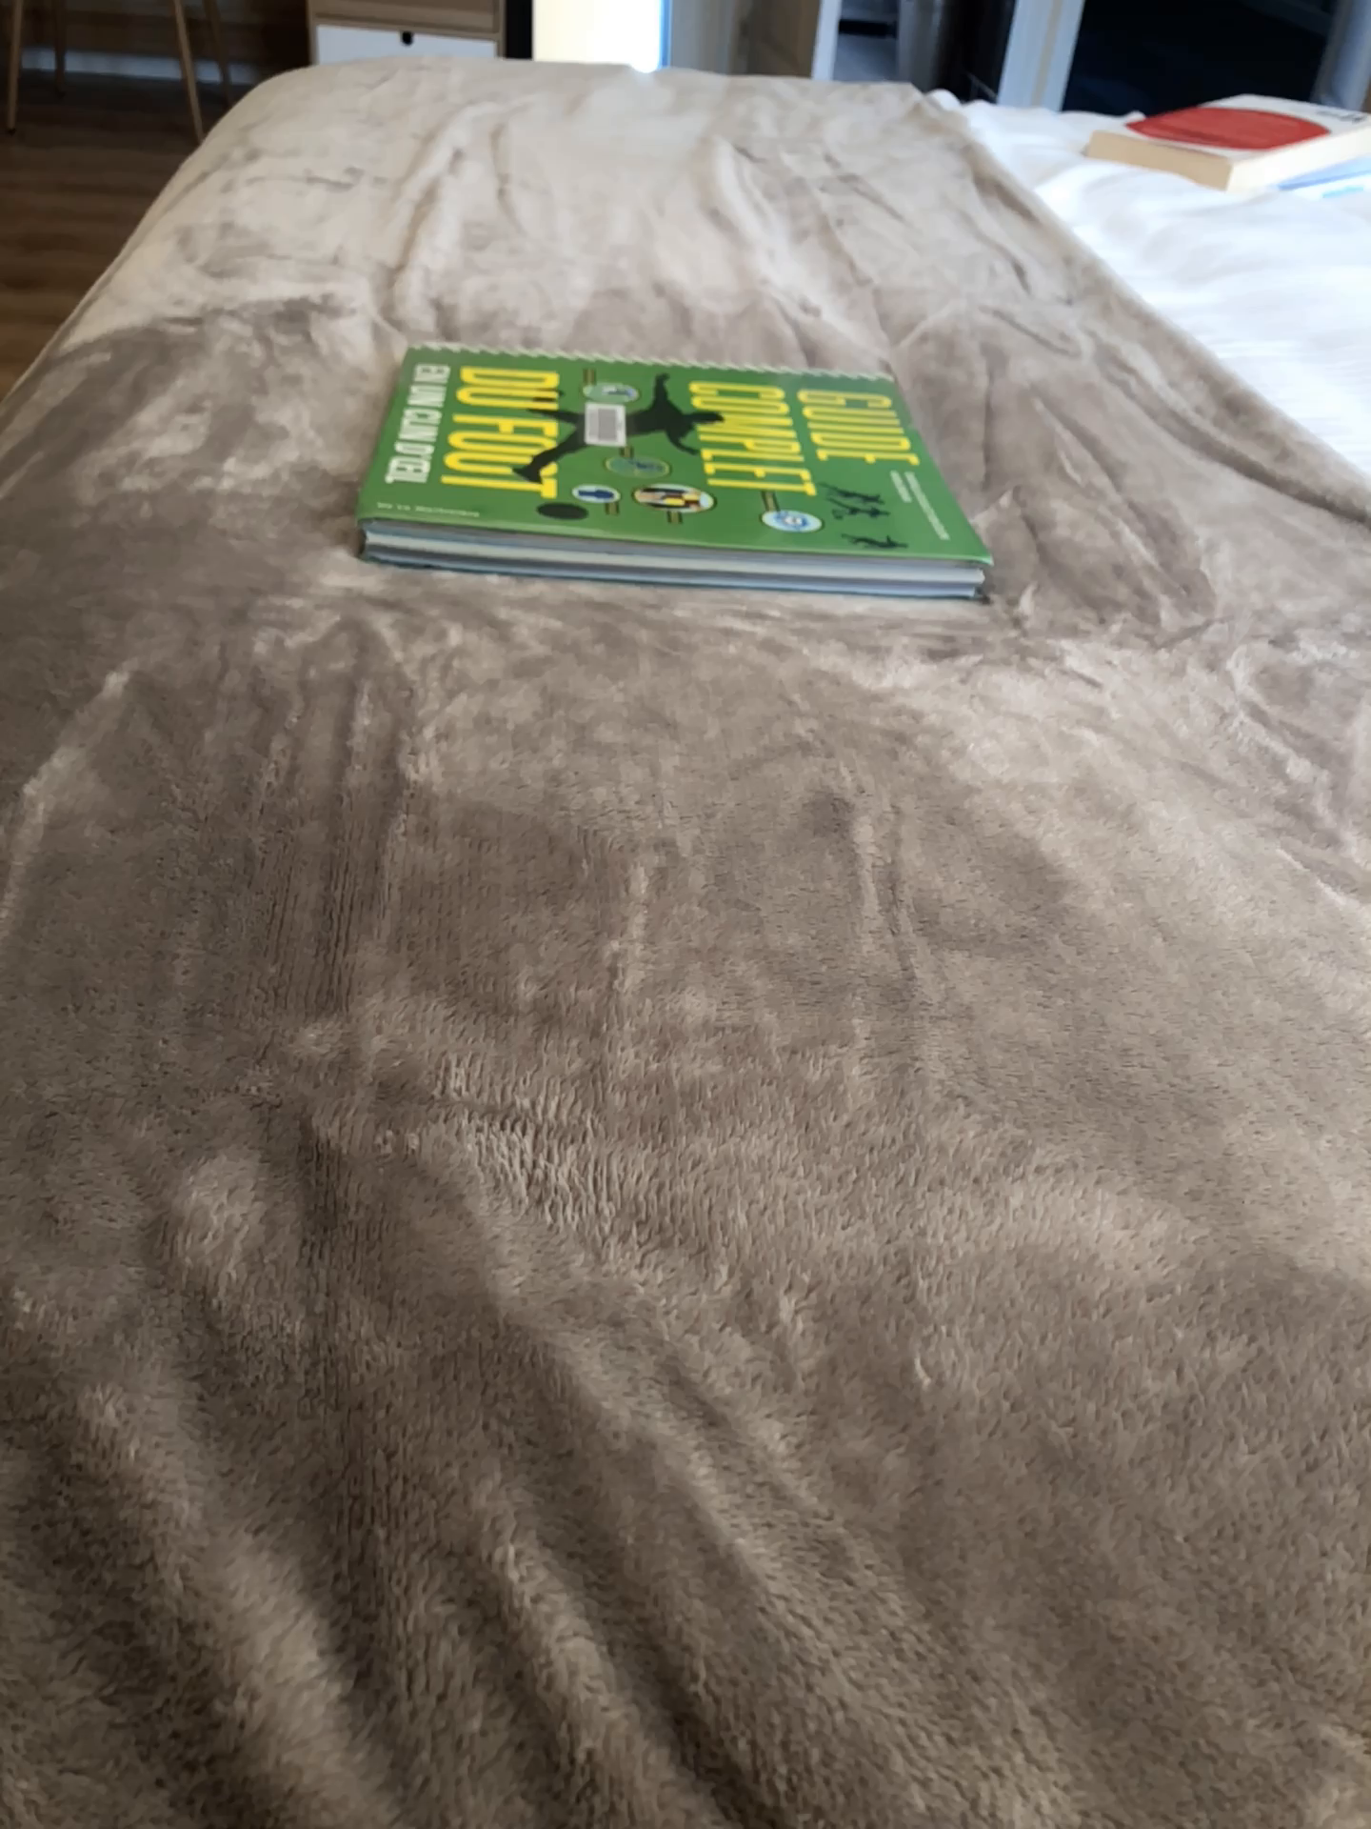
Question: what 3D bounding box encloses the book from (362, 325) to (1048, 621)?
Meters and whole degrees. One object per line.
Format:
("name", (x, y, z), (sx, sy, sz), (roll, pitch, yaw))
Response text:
("book", (0.002, -0.187, 0.618), (0.238, 0.018, 0.229), (2, 38, -6))
